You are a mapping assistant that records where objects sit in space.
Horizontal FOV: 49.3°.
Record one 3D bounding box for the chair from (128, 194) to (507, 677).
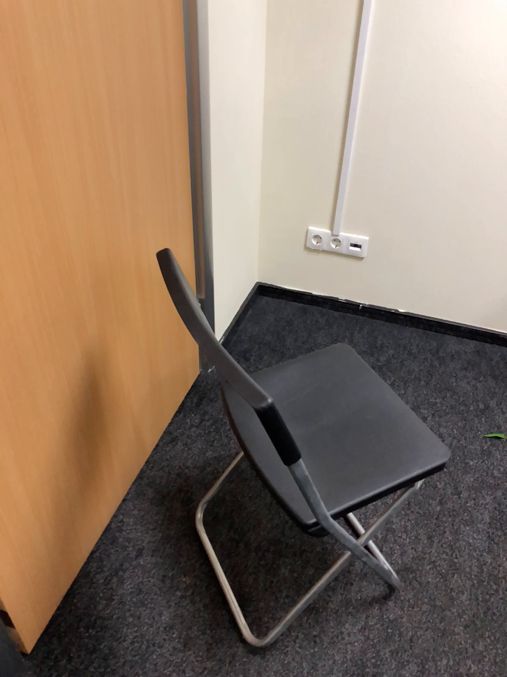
[{"bbox_3d":[0.097,0.192,1.075,0.481,0.725,0.482,-15,41,-21],"label":"chair"}]
